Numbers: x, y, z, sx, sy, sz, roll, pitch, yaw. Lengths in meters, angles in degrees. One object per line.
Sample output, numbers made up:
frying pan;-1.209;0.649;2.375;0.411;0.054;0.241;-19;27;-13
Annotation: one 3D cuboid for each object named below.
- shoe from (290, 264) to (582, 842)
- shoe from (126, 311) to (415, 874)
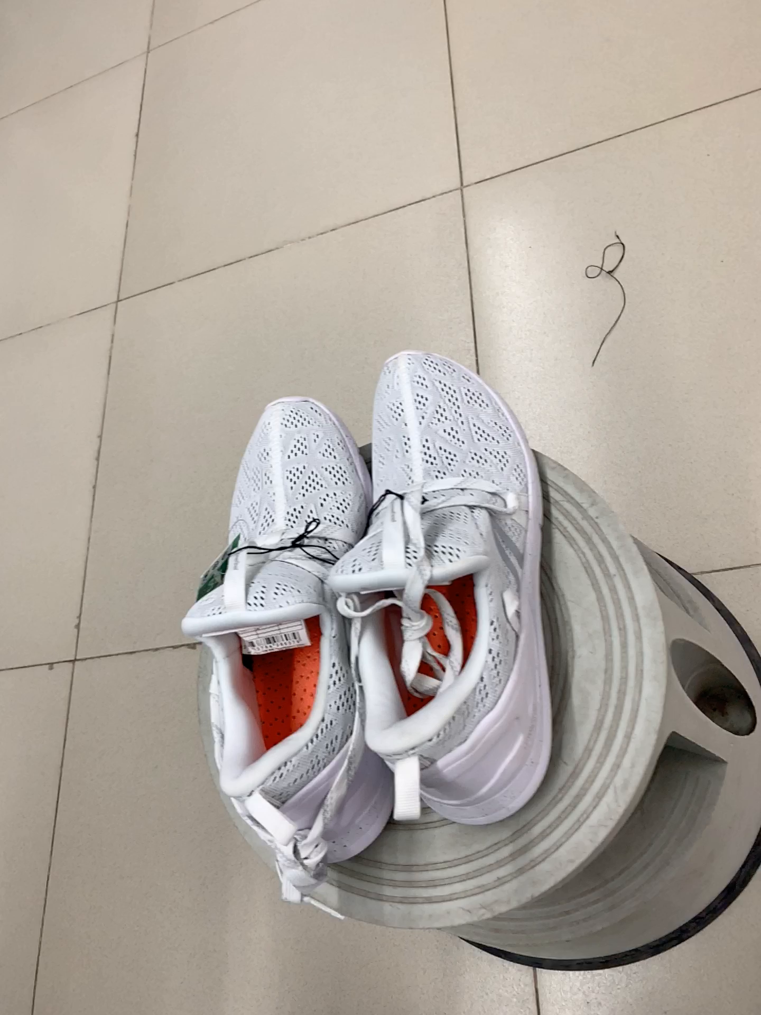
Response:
shoe;0.022;0.022;0.417;0.110;0.080;0.280;-13;65;19
shoe;-0.060;0.045;0.436;0.110;0.090;0.280;-13;65;19
